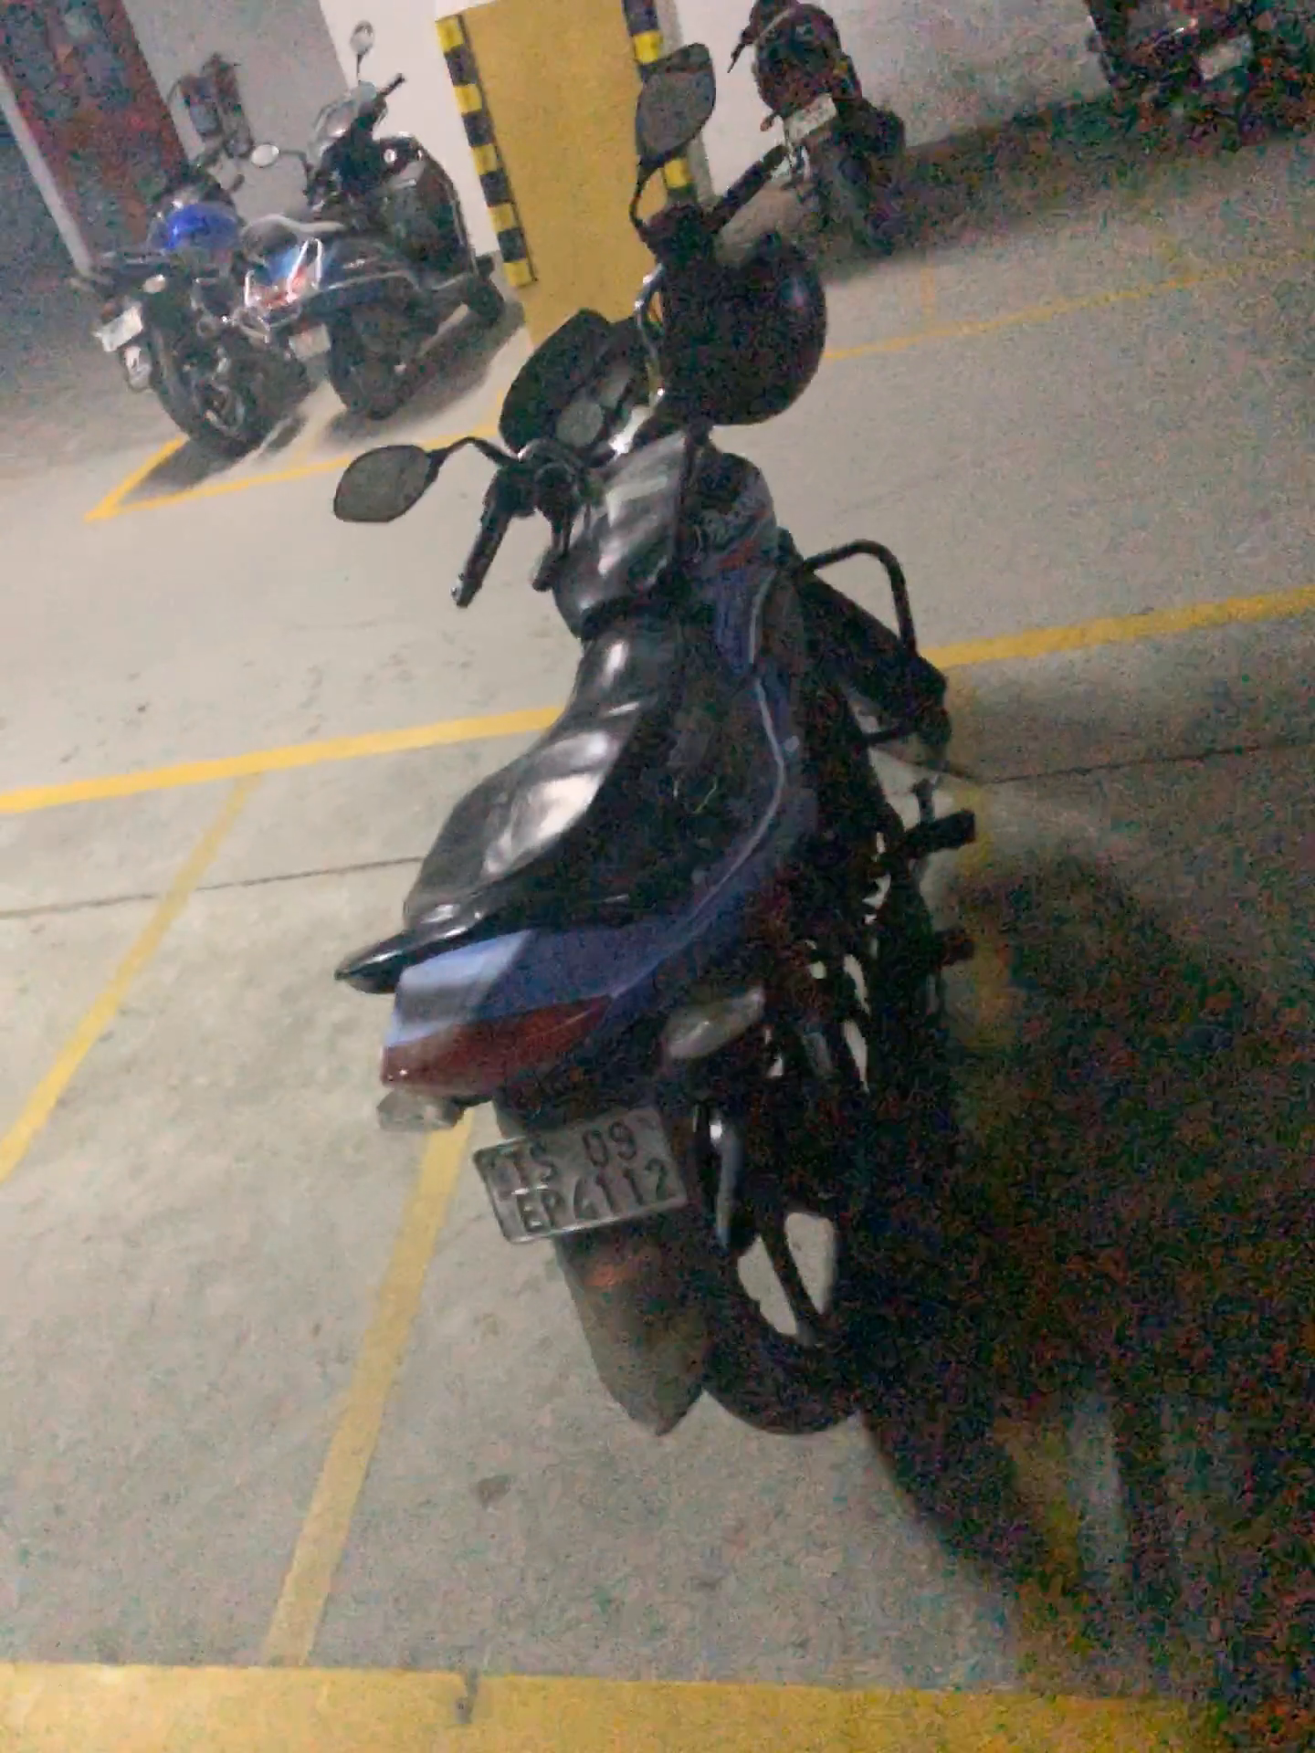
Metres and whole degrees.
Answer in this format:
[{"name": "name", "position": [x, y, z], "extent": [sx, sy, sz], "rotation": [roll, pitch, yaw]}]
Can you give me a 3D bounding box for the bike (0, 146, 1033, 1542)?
[{"name": "bike", "position": [-0.122, -0.196, 1.858], "extent": [0.780, 1.107, 1.709], "rotation": [-11, 35, 9]}]
